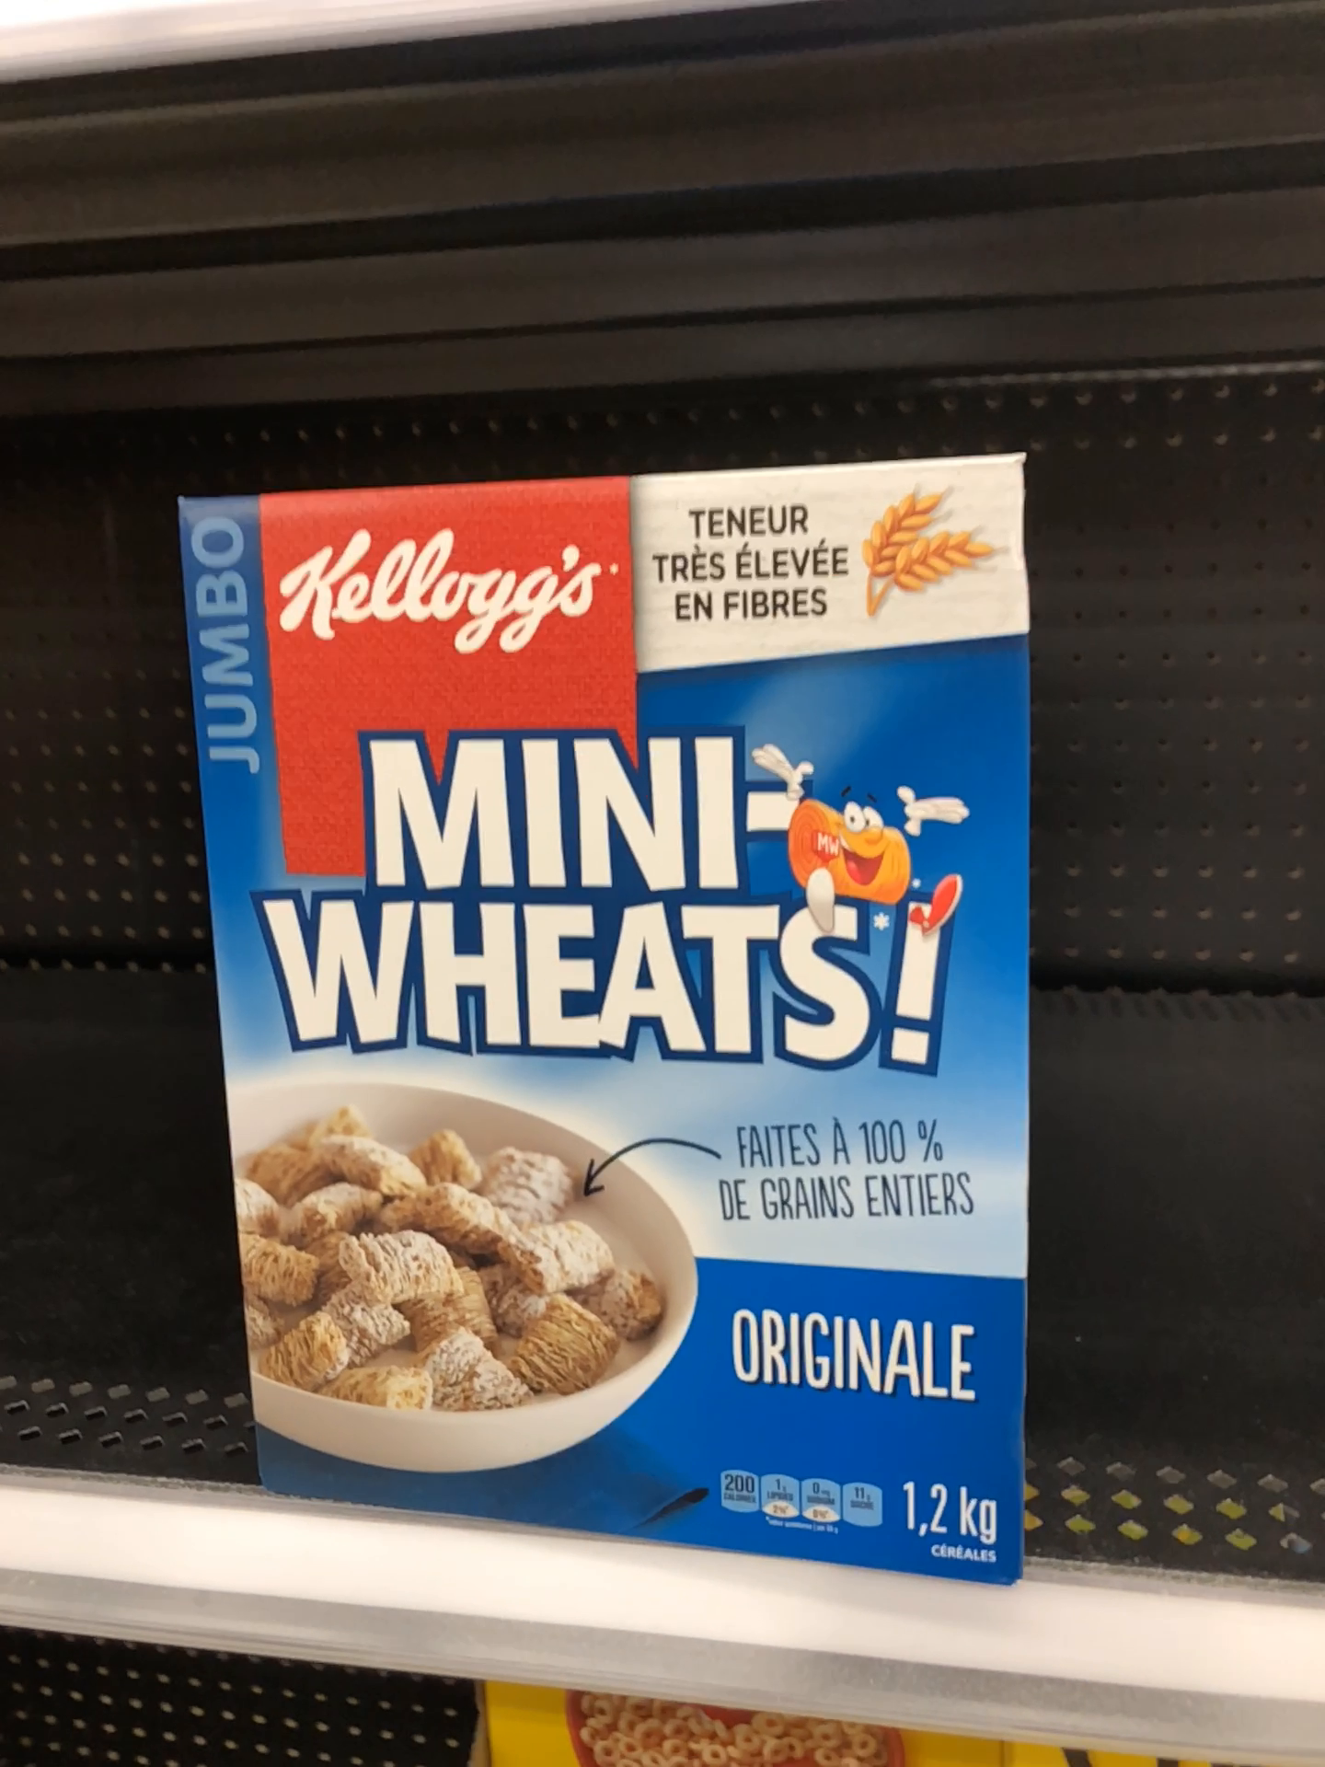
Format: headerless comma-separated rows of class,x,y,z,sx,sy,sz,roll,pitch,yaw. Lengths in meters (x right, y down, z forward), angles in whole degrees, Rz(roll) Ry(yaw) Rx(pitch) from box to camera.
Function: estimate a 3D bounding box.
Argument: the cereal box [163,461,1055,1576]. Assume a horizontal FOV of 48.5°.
cereal box,0.003,0.019,0.422,0.200,0.249,0.171,1,10,13
